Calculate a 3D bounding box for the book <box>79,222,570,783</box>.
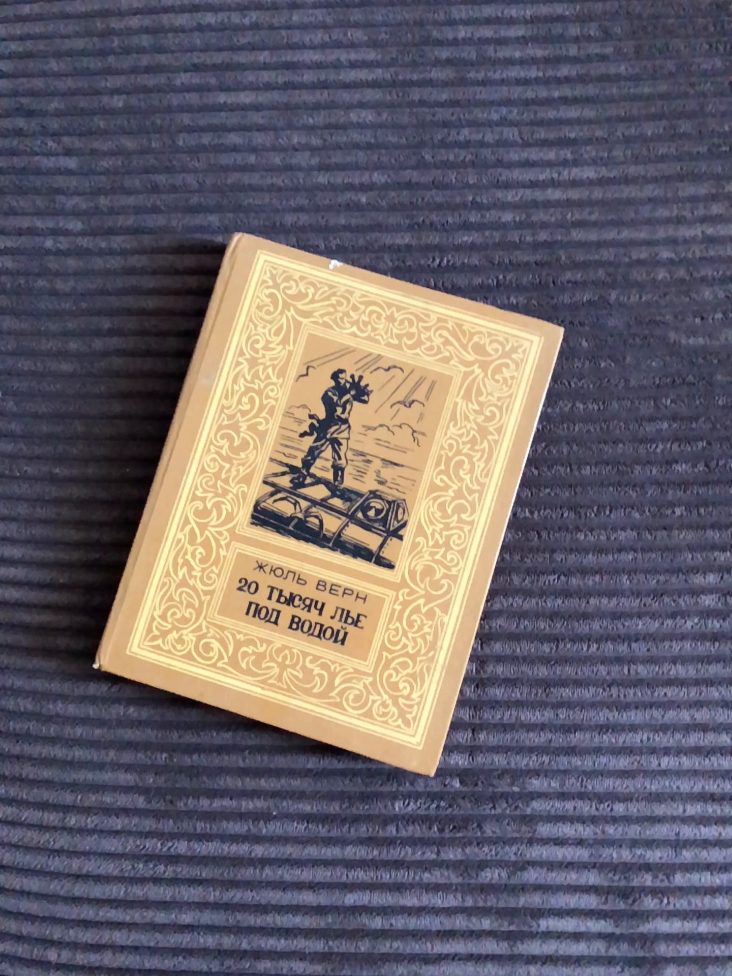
[{"bbox_3d":[-0.017,0.004,0.385,0.170,0.029,0.219,16,86,2],"label":"book"}]
